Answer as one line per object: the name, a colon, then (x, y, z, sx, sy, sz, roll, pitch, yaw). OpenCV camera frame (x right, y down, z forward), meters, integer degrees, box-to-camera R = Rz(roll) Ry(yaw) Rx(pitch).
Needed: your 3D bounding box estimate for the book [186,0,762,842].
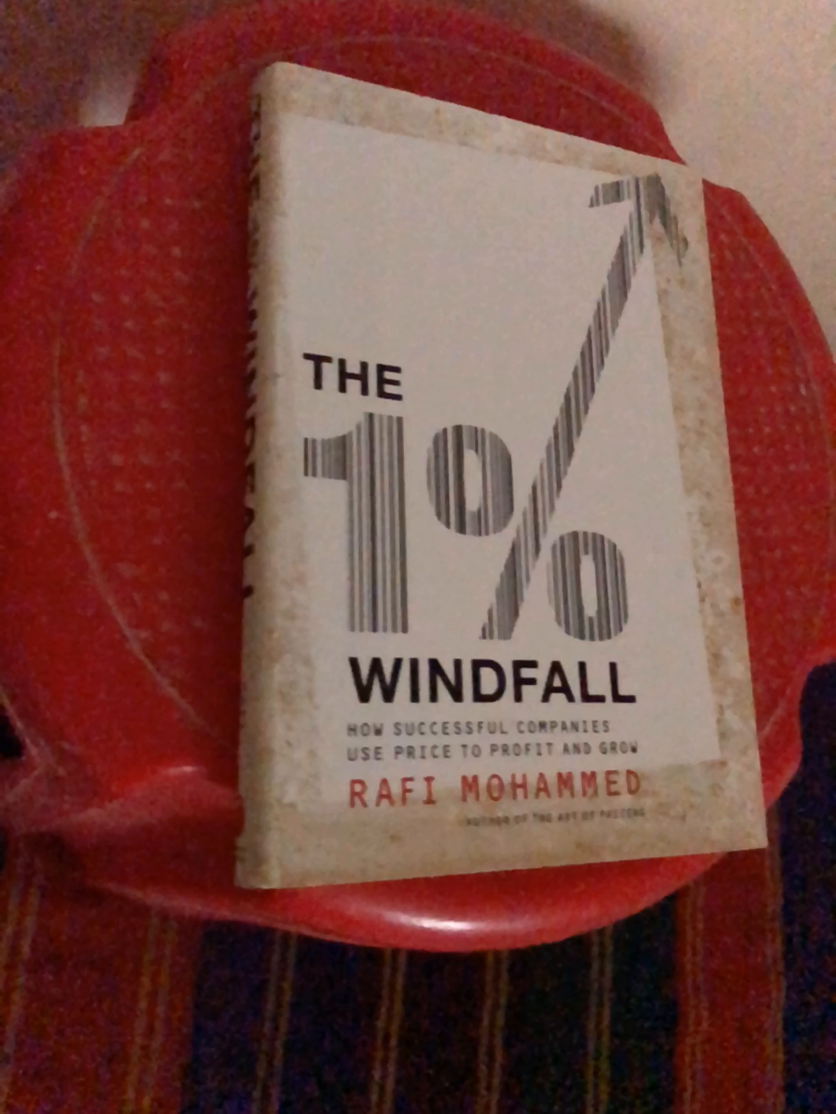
book: (0.019, -0.044, 0.319, 0.181, 0.040, 0.260, 4, 77, -22)
